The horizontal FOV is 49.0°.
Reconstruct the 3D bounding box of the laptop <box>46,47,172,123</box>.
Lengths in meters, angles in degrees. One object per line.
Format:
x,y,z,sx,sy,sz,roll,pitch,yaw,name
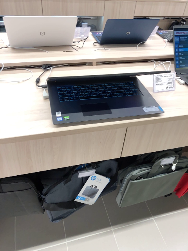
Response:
0.032,-0.169,0.768,0.390,0.129,0.272,-7,42,-14,laptop
